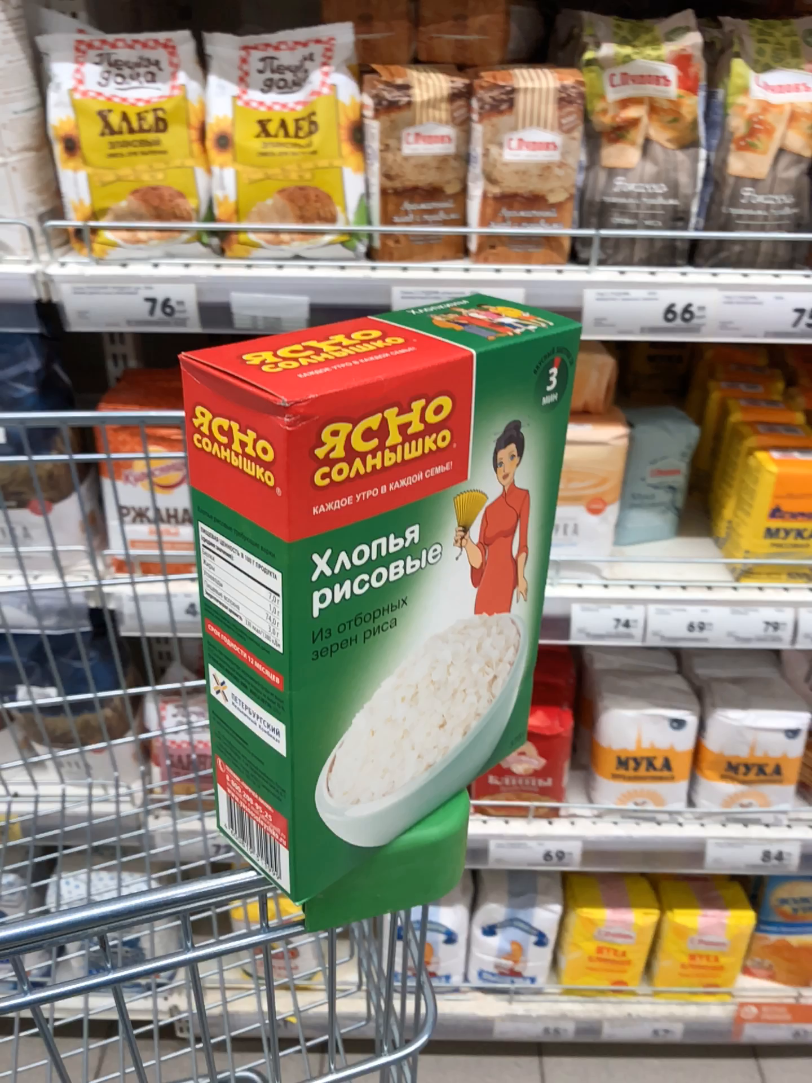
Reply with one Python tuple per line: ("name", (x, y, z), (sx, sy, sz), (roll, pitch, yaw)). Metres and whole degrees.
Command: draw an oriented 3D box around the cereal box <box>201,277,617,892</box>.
("cereal box", (0.004, 0.012, 0.337), (0.140, 0.189, 0.050), (-24, 38, -39))
